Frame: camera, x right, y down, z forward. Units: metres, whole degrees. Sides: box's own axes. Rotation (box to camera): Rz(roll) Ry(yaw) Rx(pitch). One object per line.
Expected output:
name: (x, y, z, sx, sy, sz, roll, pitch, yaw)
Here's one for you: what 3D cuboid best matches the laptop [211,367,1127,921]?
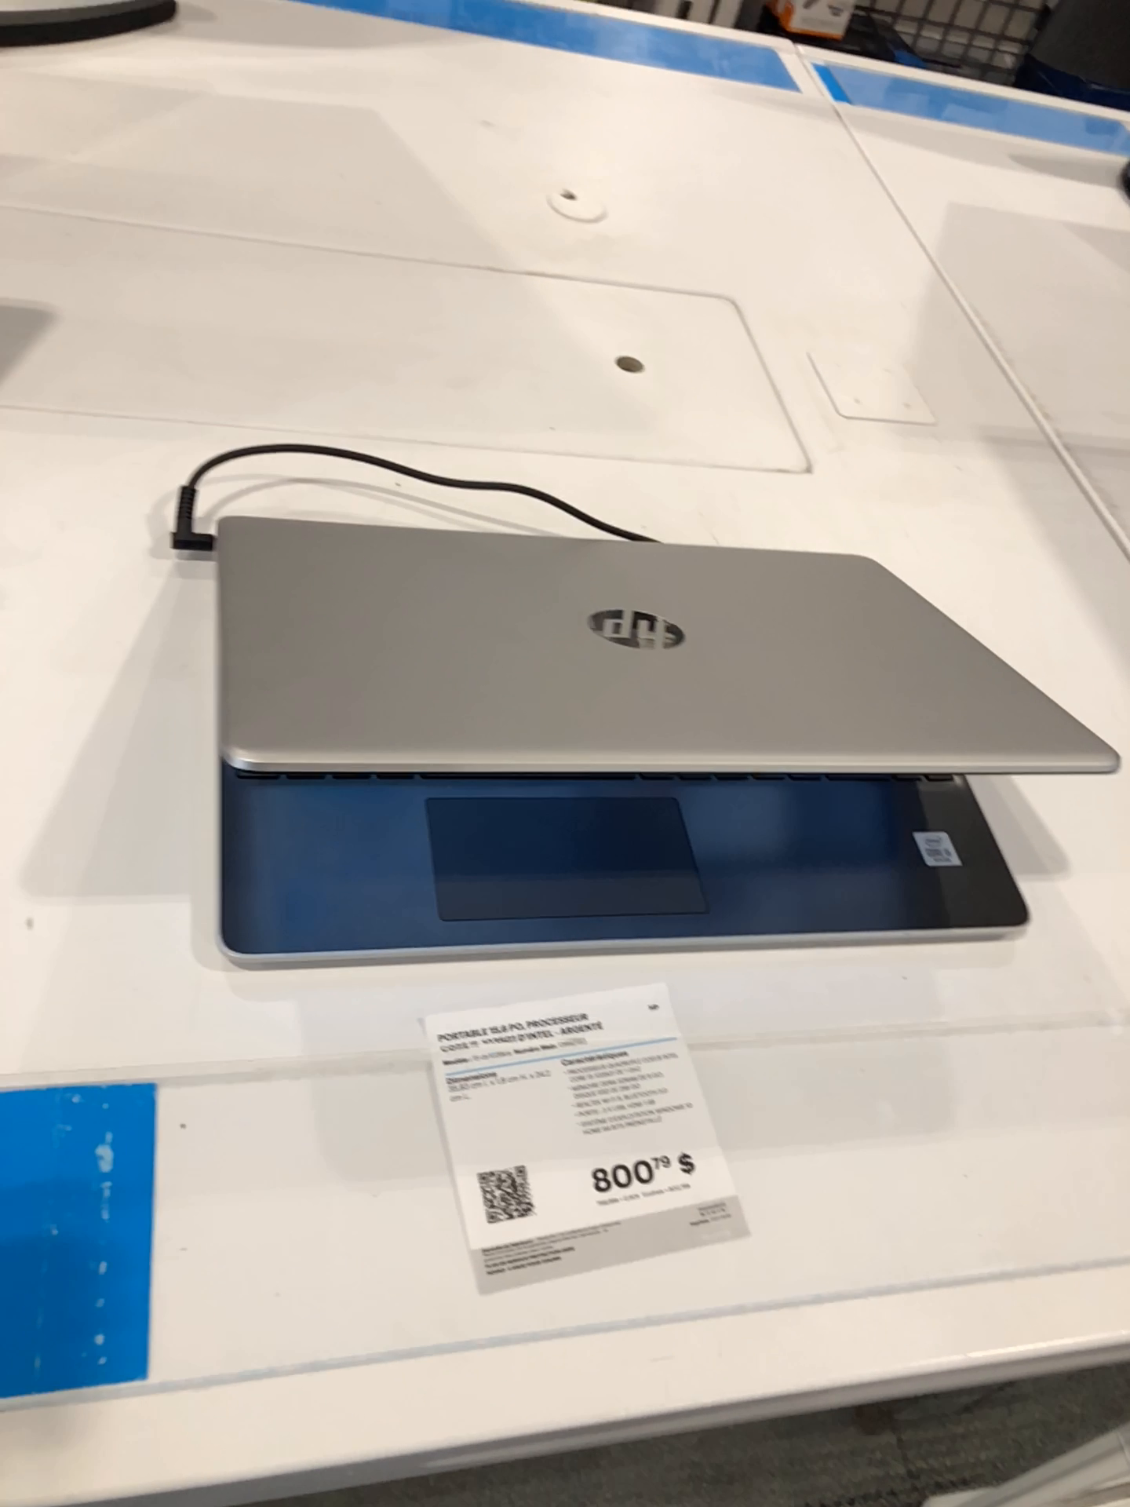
laptop: (0.025, -0.052, 0.545, 0.342, 0.086, 0.229, 0, 50, -15)
